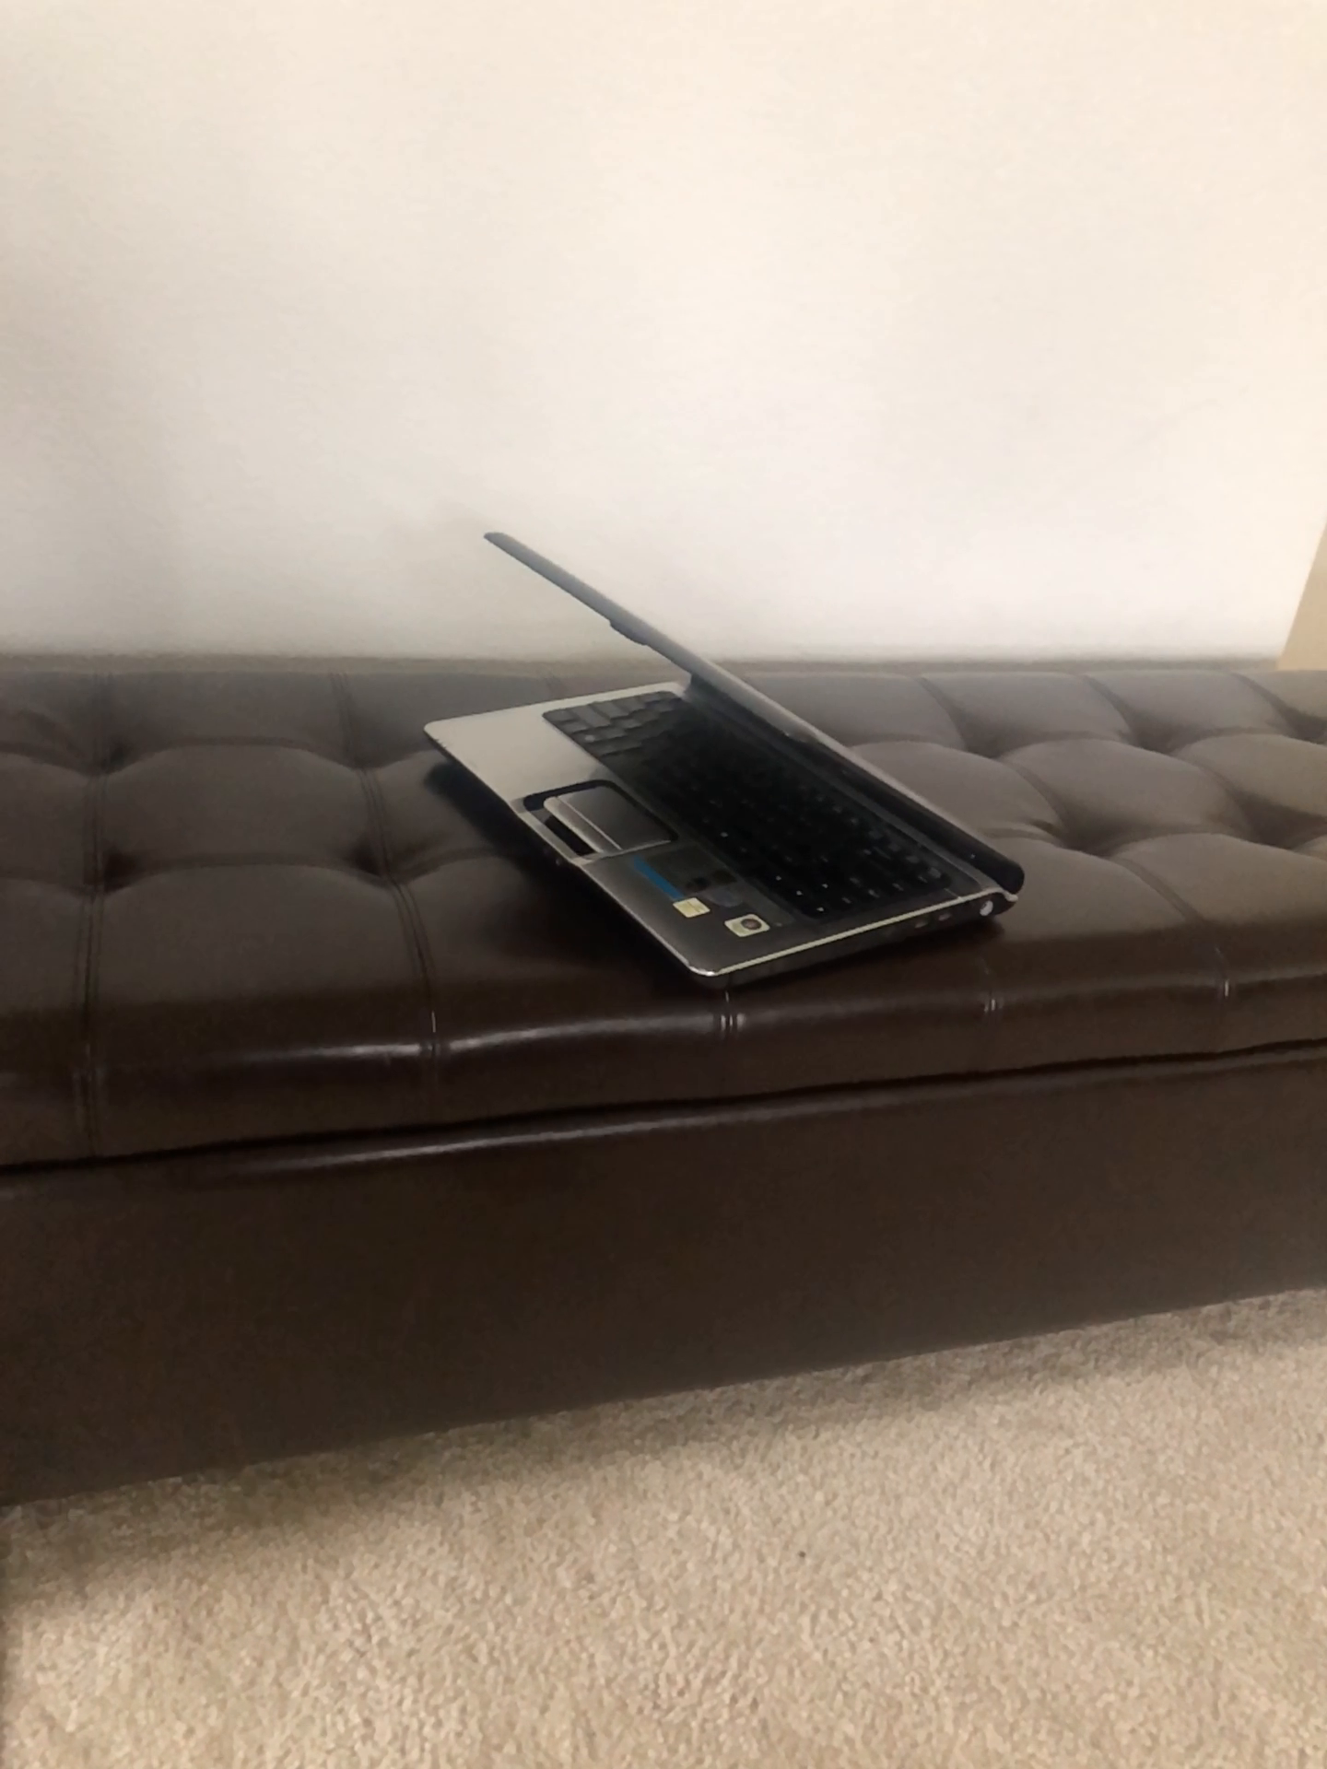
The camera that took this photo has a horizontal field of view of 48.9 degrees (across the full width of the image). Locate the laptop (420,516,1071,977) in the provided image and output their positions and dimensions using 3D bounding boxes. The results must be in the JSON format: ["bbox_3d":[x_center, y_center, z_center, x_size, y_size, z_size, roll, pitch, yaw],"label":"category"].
[{"bbox_3d":[0.030,-0.107,0.874,0.230,0.122,0.333,-13,34,-32],"label":"laptop"}]
